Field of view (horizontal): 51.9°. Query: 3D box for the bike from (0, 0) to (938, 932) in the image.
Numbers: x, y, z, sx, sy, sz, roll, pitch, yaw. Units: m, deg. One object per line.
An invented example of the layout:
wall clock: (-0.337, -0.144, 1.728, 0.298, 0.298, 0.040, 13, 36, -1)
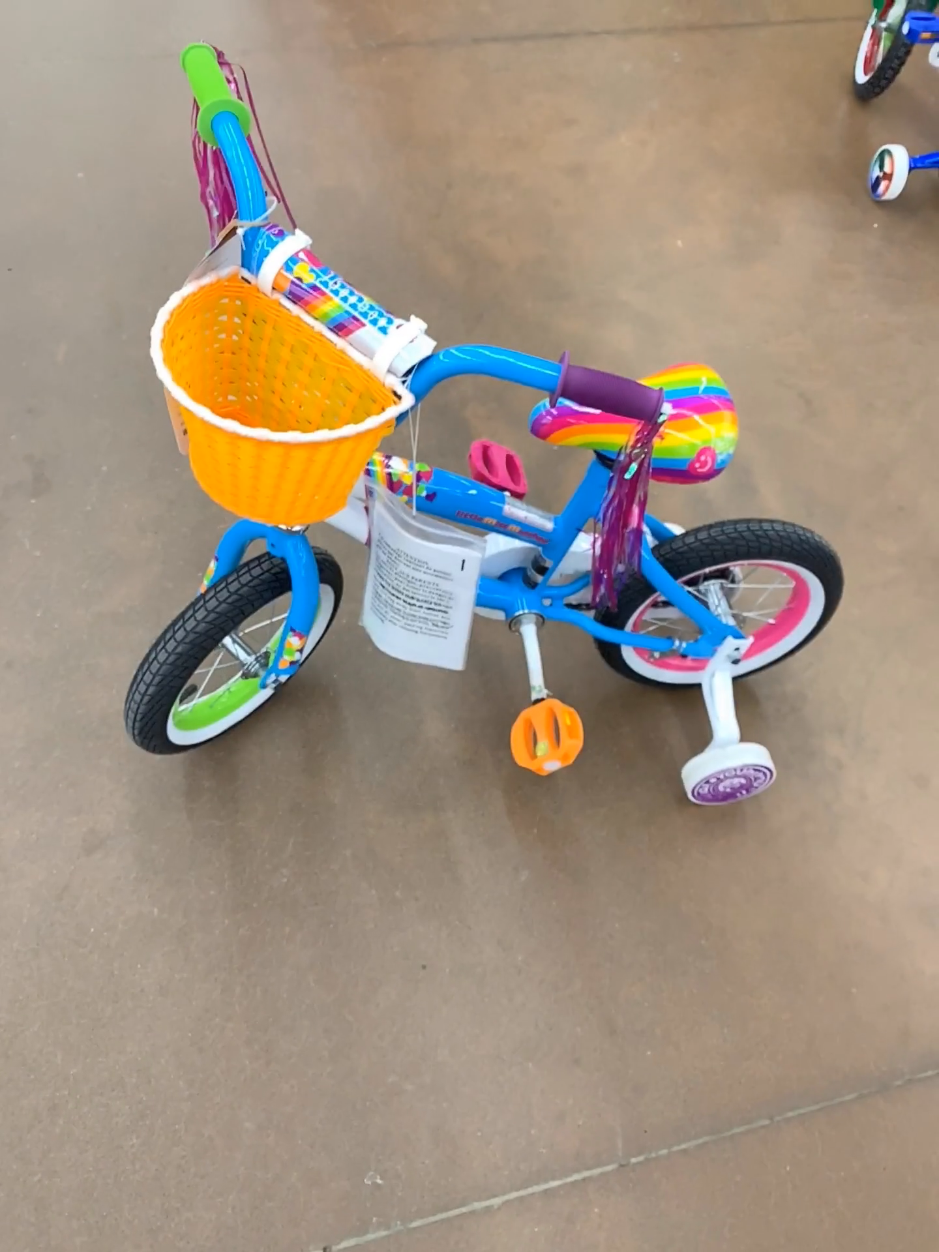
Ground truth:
bike: (0.040, -0.162, 0.989, 0.816, 0.664, 0.554, -11, 54, -14)
